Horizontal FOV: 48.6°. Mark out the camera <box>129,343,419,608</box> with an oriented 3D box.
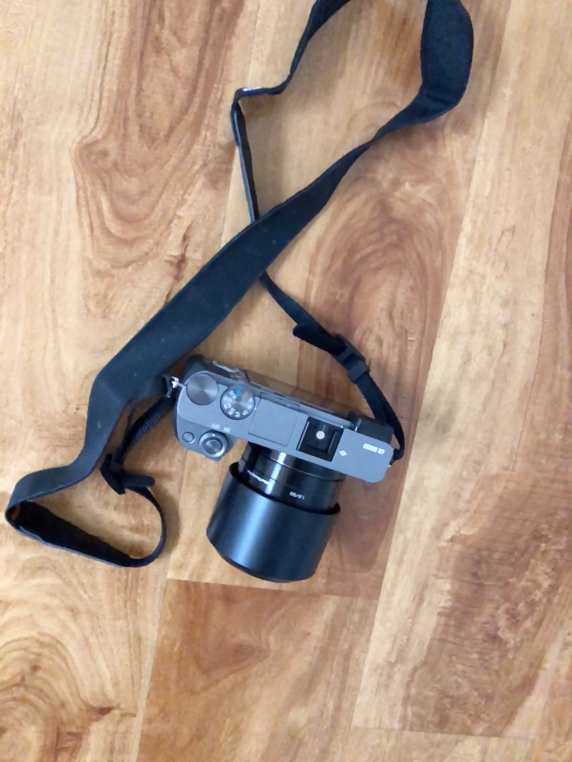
[{"bbox_3d":[-0.010,0.053,0.379,0.130,0.070,0.110,18,96,-10],"label":"camera"}]
